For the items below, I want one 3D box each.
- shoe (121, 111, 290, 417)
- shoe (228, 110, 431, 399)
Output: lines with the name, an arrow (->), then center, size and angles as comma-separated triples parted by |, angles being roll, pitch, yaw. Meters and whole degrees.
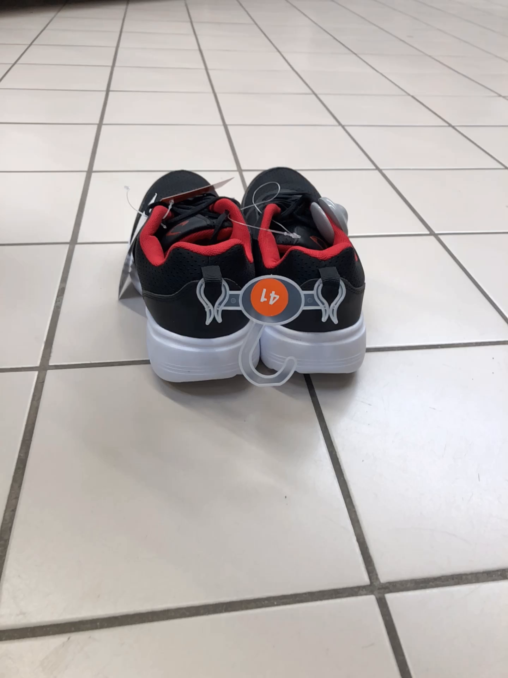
shoe -> -0.056, -0.089, 0.485 | 0.100, 0.129, 0.296 | -4, 38, -10
shoe -> 0.041, -0.095, 0.496 | 0.100, 0.129, 0.286 | -2, 37, -7
